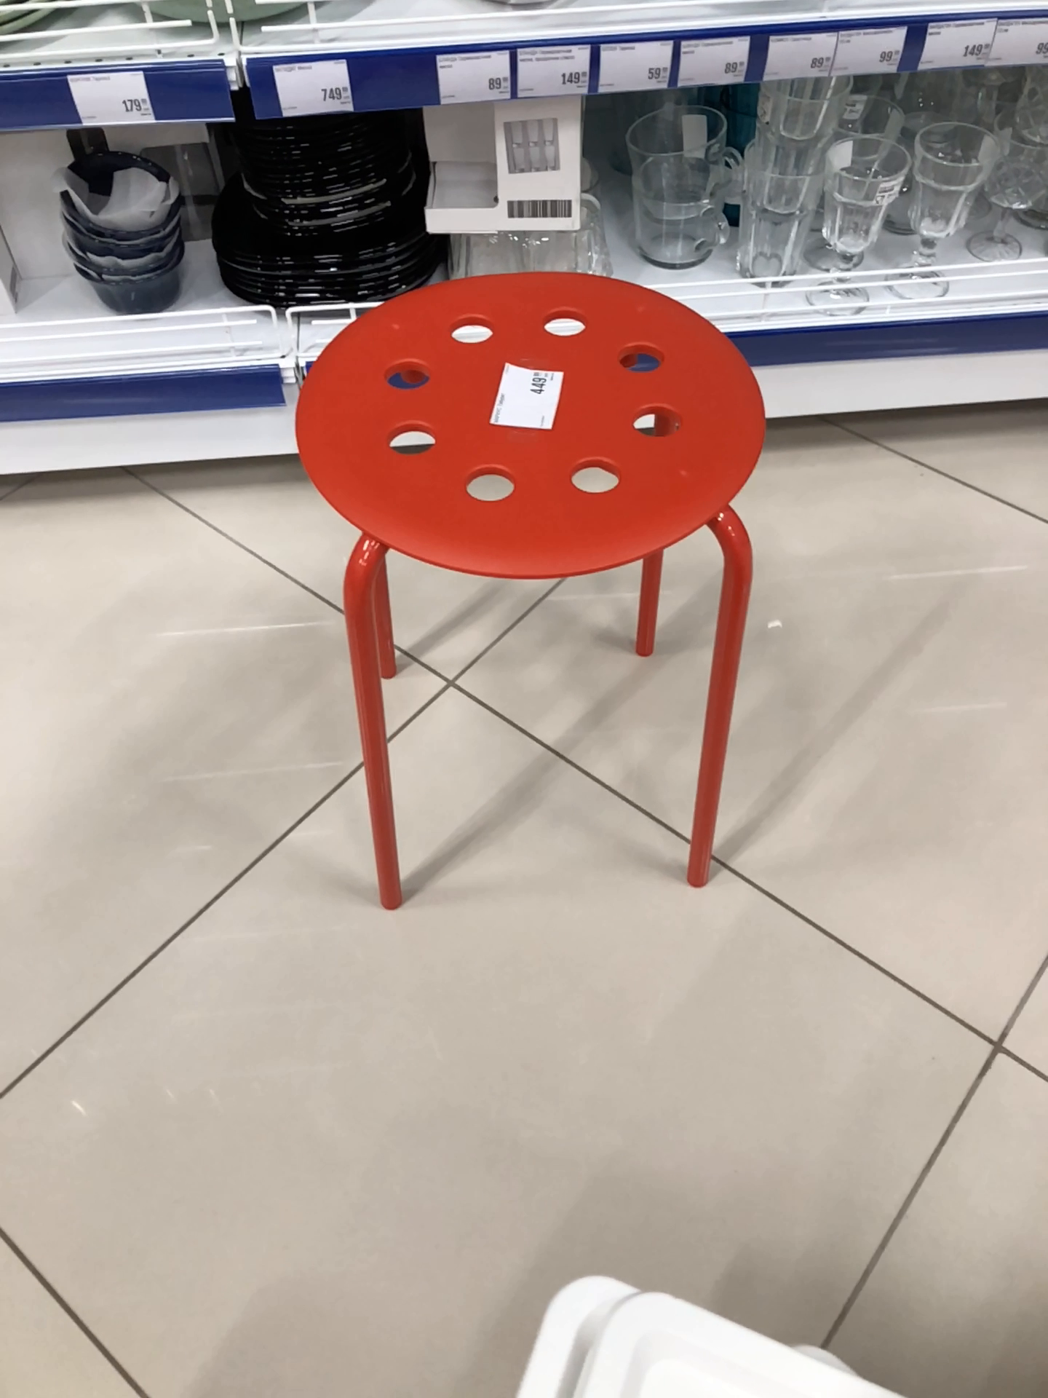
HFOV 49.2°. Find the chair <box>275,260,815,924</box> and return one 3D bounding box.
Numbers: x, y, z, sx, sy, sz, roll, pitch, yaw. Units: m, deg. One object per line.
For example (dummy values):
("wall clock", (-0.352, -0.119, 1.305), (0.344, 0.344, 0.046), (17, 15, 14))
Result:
("chair", (0.006, -0.070, 0.920), (0.313, 0.405, 0.322), (-4, 52, -2))
